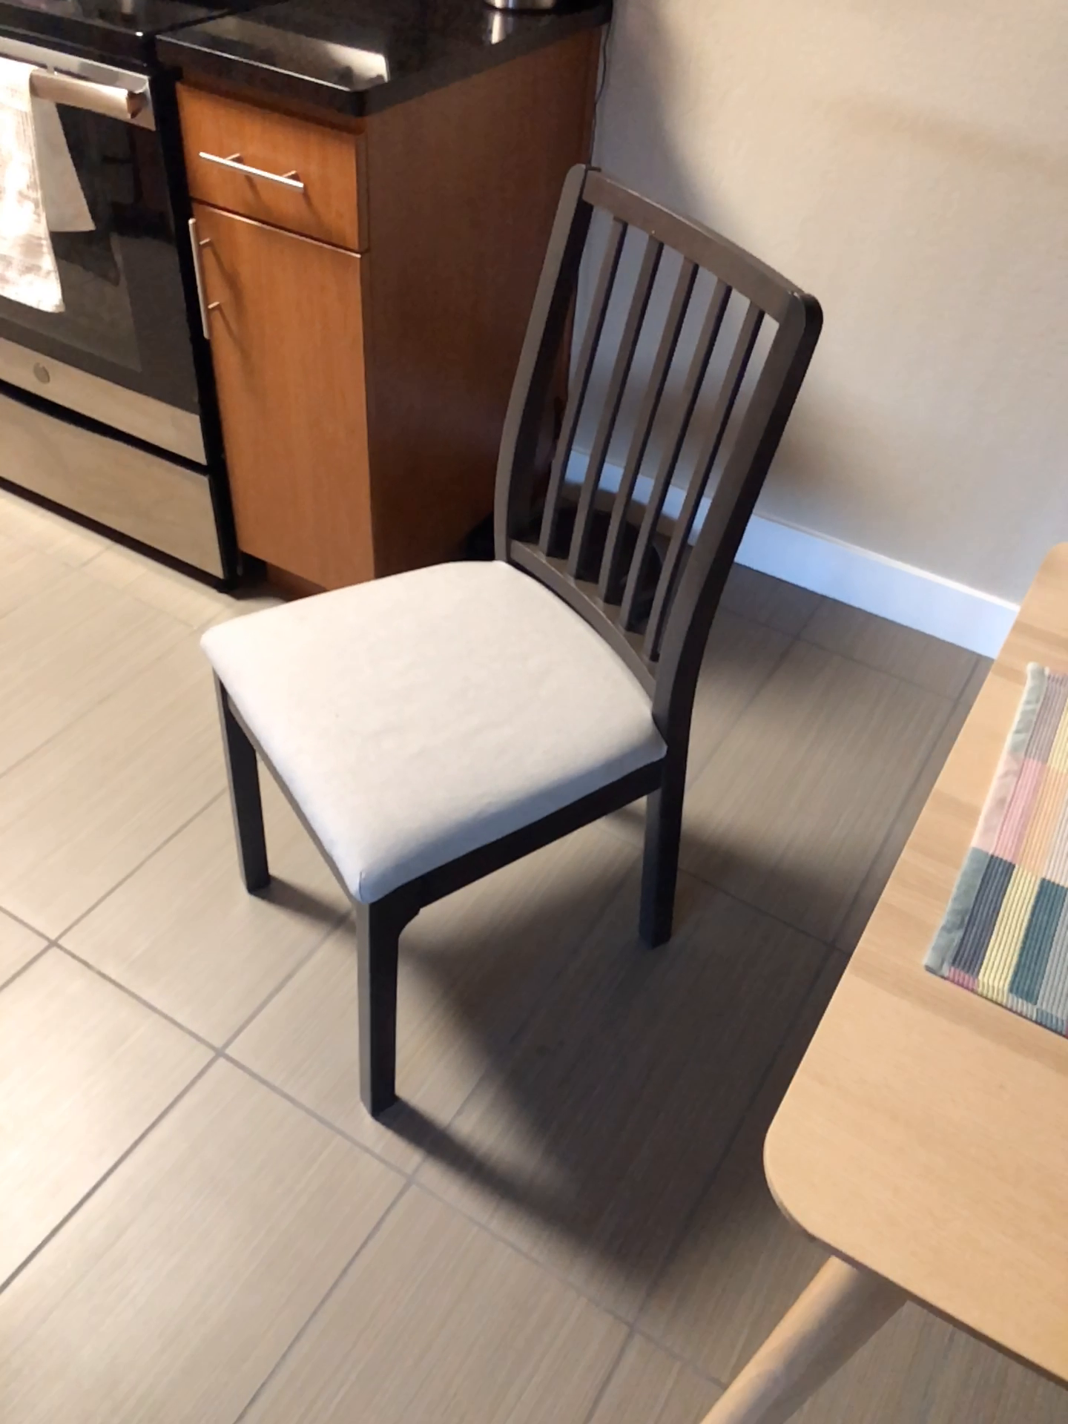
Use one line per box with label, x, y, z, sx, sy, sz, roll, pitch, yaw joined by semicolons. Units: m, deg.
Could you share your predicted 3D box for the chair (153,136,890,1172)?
chair;-0.067;-0.015;1.453;0.511;1.125;0.482;-17;47;-23
